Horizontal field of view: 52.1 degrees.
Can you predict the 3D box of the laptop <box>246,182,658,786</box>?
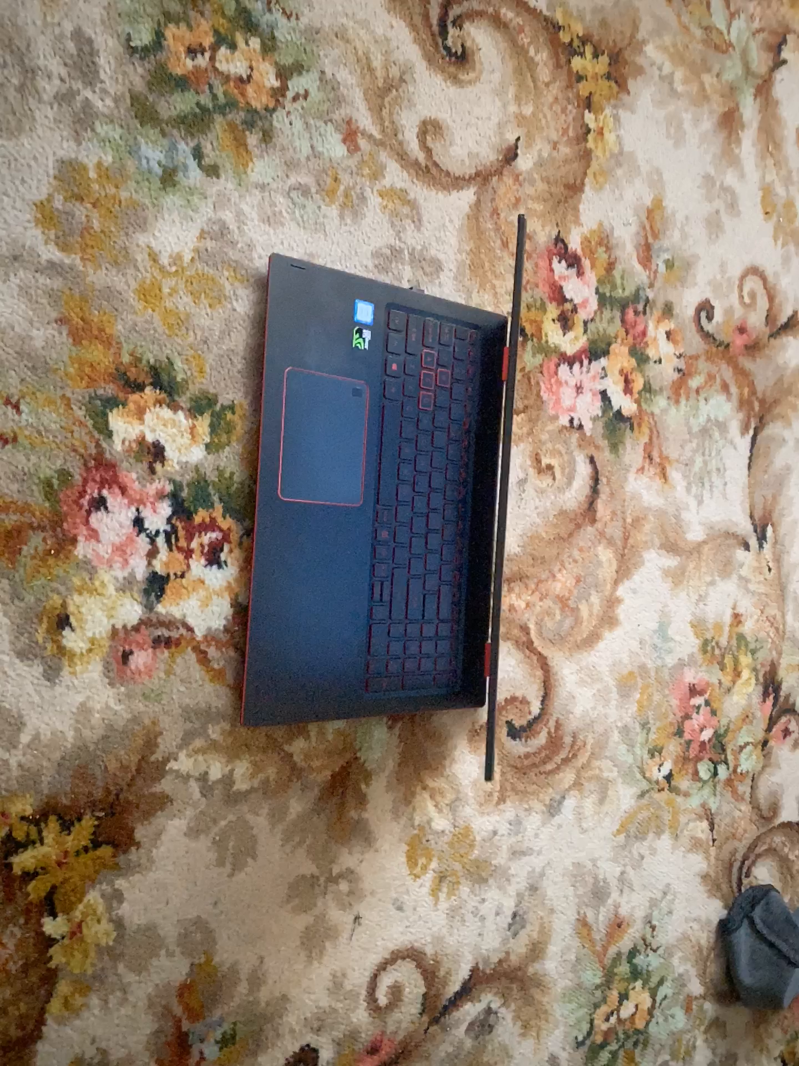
[{"bbox_3d":[0.036,-0.024,0.610,0.225,0.172,0.356,4,90,-31],"label":"laptop"}]
